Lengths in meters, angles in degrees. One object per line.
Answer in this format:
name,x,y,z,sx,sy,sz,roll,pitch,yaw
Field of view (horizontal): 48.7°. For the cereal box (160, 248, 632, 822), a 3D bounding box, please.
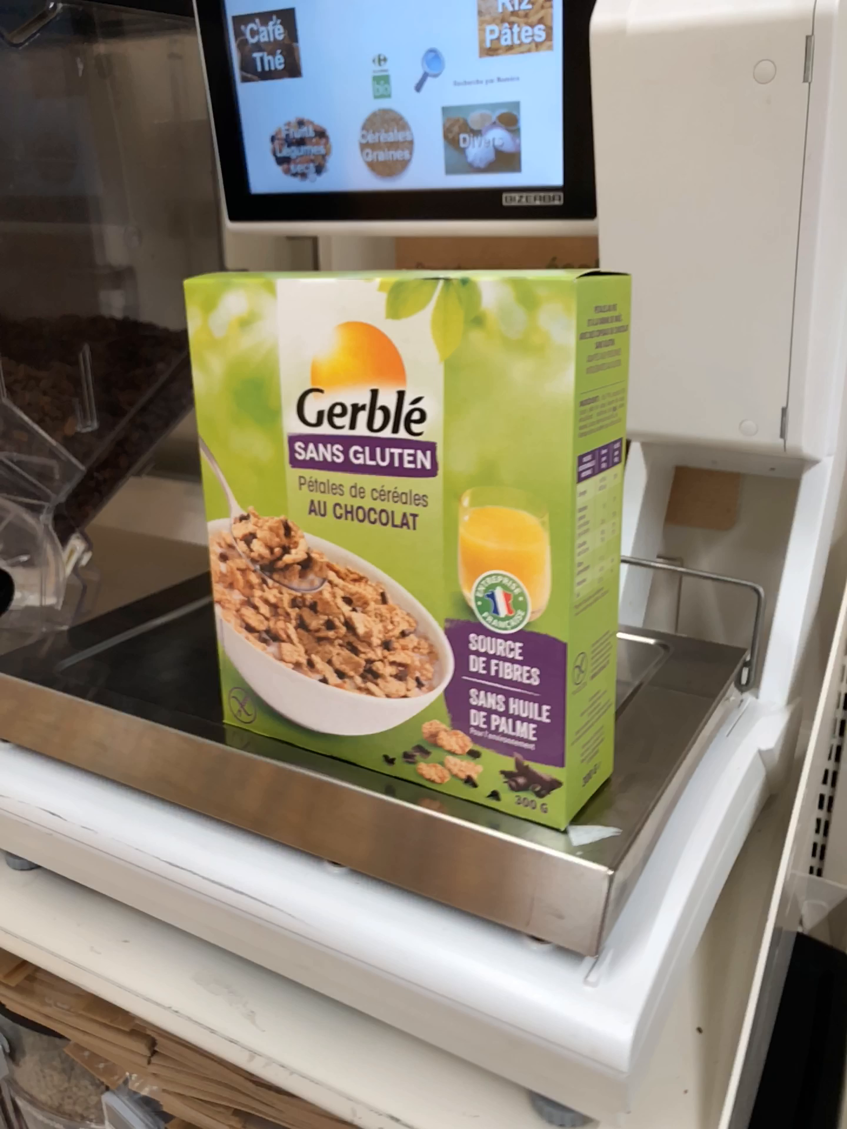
cereal box,-0.015,-0.023,0.423,0.200,0.219,0.060,9,20,33
